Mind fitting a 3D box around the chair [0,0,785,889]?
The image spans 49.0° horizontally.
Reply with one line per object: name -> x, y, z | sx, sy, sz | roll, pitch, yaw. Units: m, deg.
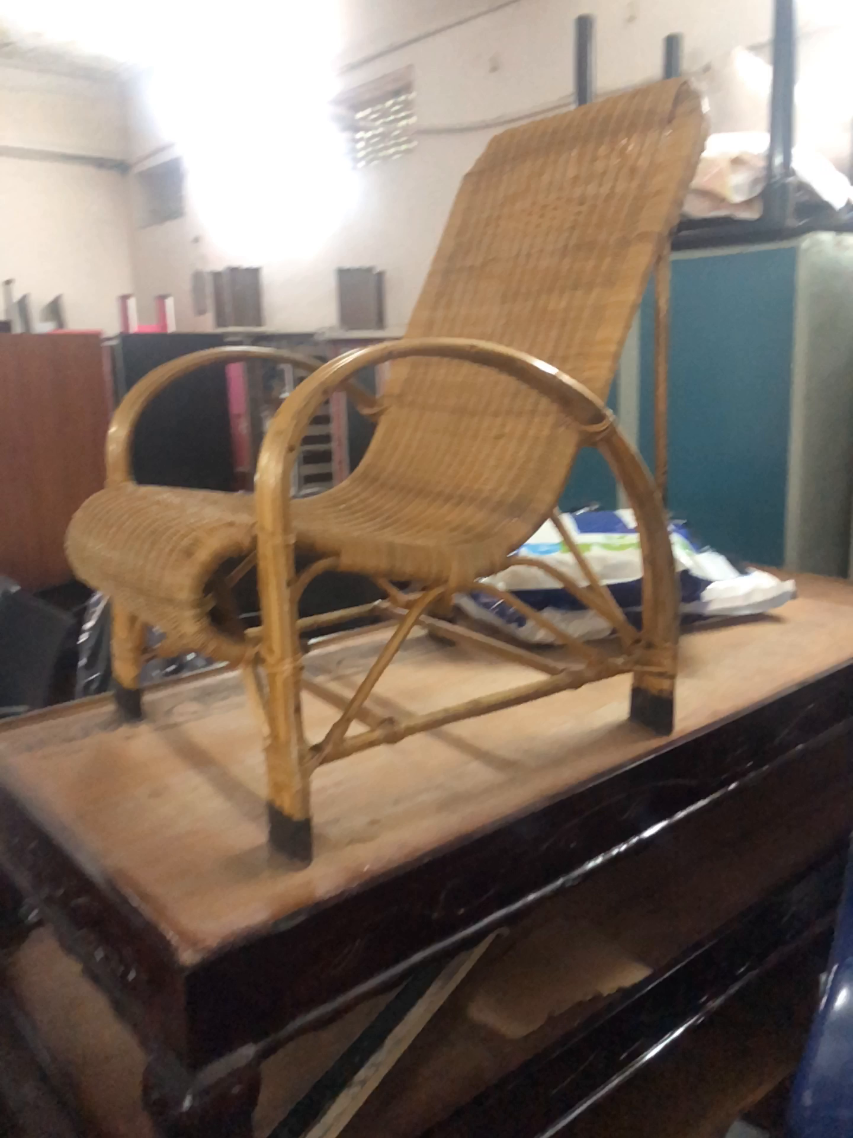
chair -> -0.066, -0.276, 1.420 | 0.822, 0.997, 0.770 | -10, 15, -35
